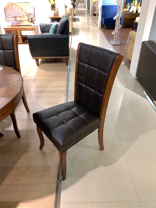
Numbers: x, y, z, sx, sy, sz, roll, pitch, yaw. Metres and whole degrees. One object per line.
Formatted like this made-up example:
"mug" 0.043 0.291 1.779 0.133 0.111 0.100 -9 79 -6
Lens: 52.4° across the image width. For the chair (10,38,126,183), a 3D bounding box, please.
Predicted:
"chair" -0.072 0.026 1.351 0.601 0.936 0.532 -25 41 -31
